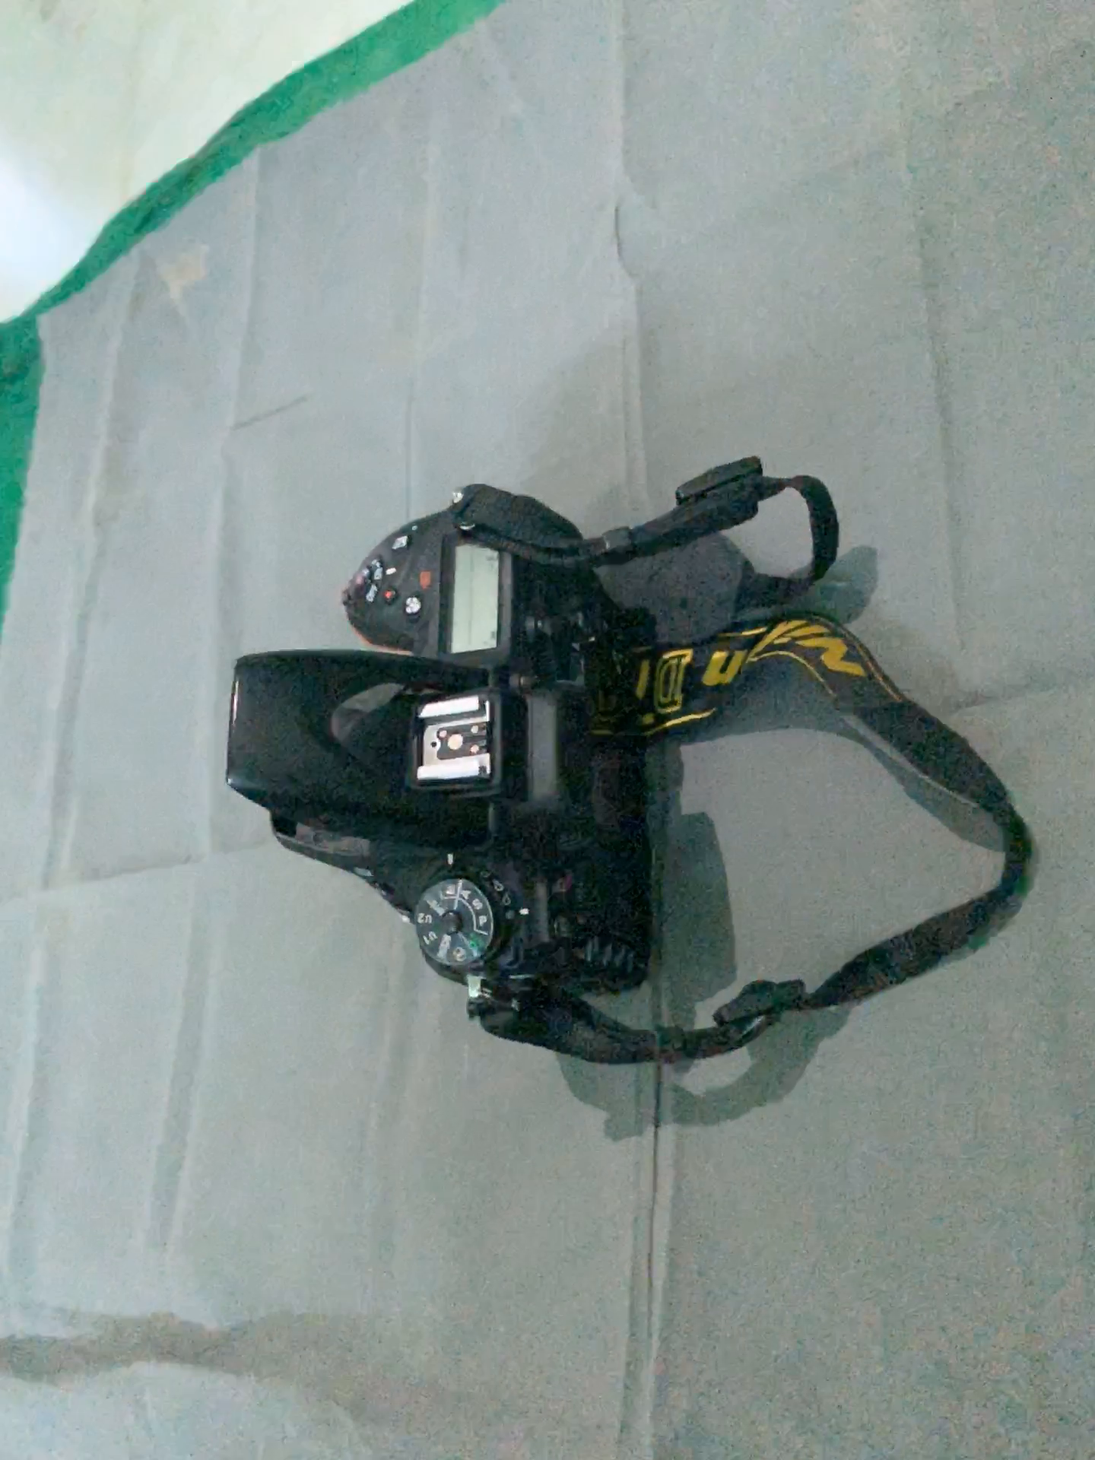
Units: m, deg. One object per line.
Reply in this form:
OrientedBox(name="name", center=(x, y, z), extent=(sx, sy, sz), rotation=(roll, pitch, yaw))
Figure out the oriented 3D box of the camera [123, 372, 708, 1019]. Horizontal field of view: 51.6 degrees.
OrientedBox(name="camera", center=(-0.027, 0.006, 0.324), extent=(0.101, 0.125, 0.140), rotation=(-9, 69, 29))
